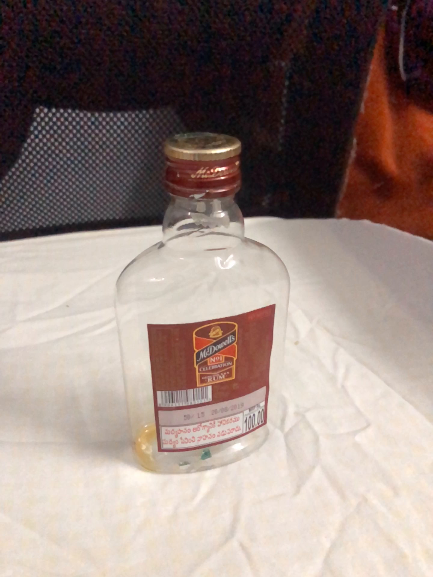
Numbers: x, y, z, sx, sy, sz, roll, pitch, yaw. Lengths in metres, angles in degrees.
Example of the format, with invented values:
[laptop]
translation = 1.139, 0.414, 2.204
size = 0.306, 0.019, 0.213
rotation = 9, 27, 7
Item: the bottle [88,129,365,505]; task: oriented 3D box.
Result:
[bottle]
translation = -0.002, 0.014, 0.191
size = 0.080, 0.139, 0.040
rotation = -7, 33, -17
